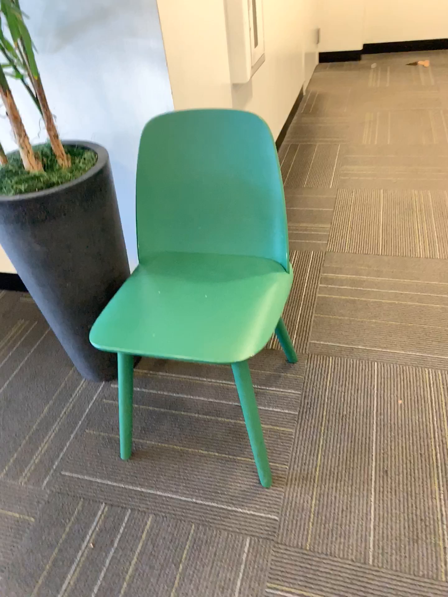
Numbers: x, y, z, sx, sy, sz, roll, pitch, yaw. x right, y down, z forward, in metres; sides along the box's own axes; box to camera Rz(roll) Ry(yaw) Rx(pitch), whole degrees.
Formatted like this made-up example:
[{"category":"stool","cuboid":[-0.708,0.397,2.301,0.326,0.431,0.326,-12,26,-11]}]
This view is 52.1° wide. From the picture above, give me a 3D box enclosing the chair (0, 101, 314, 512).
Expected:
[{"category":"chair","cuboid":[-0.070,0.001,1.136,0.501,0.745,0.603,5,40,16]}]
